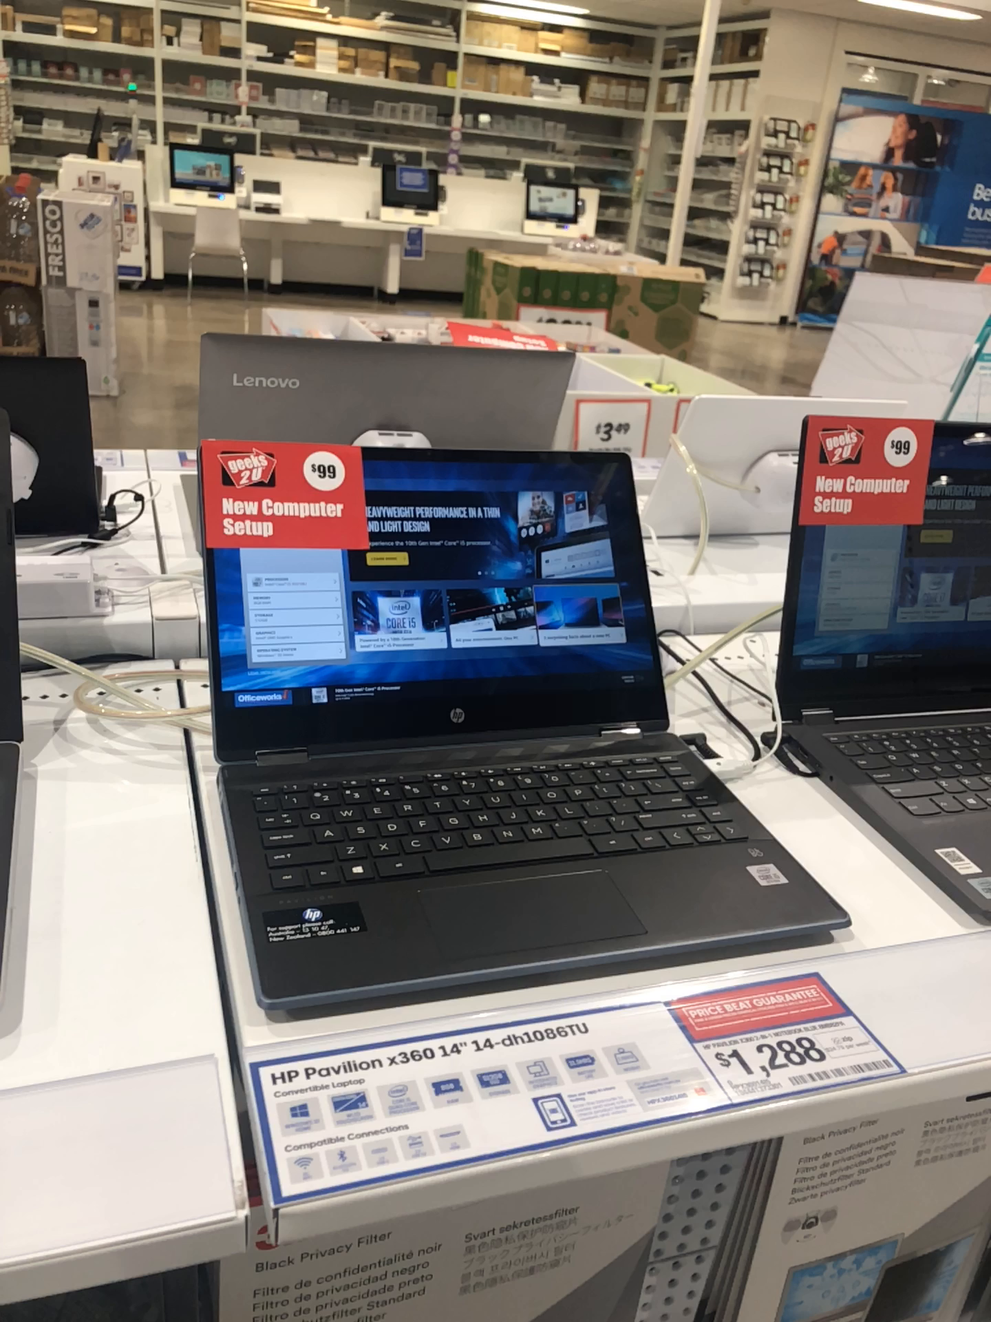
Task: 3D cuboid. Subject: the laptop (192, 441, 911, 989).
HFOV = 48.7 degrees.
[{"bbox_3d":[-0.008,-0.005,0.665,0.315,0.165,0.350,-2,25,-19],"label":"laptop"}]
